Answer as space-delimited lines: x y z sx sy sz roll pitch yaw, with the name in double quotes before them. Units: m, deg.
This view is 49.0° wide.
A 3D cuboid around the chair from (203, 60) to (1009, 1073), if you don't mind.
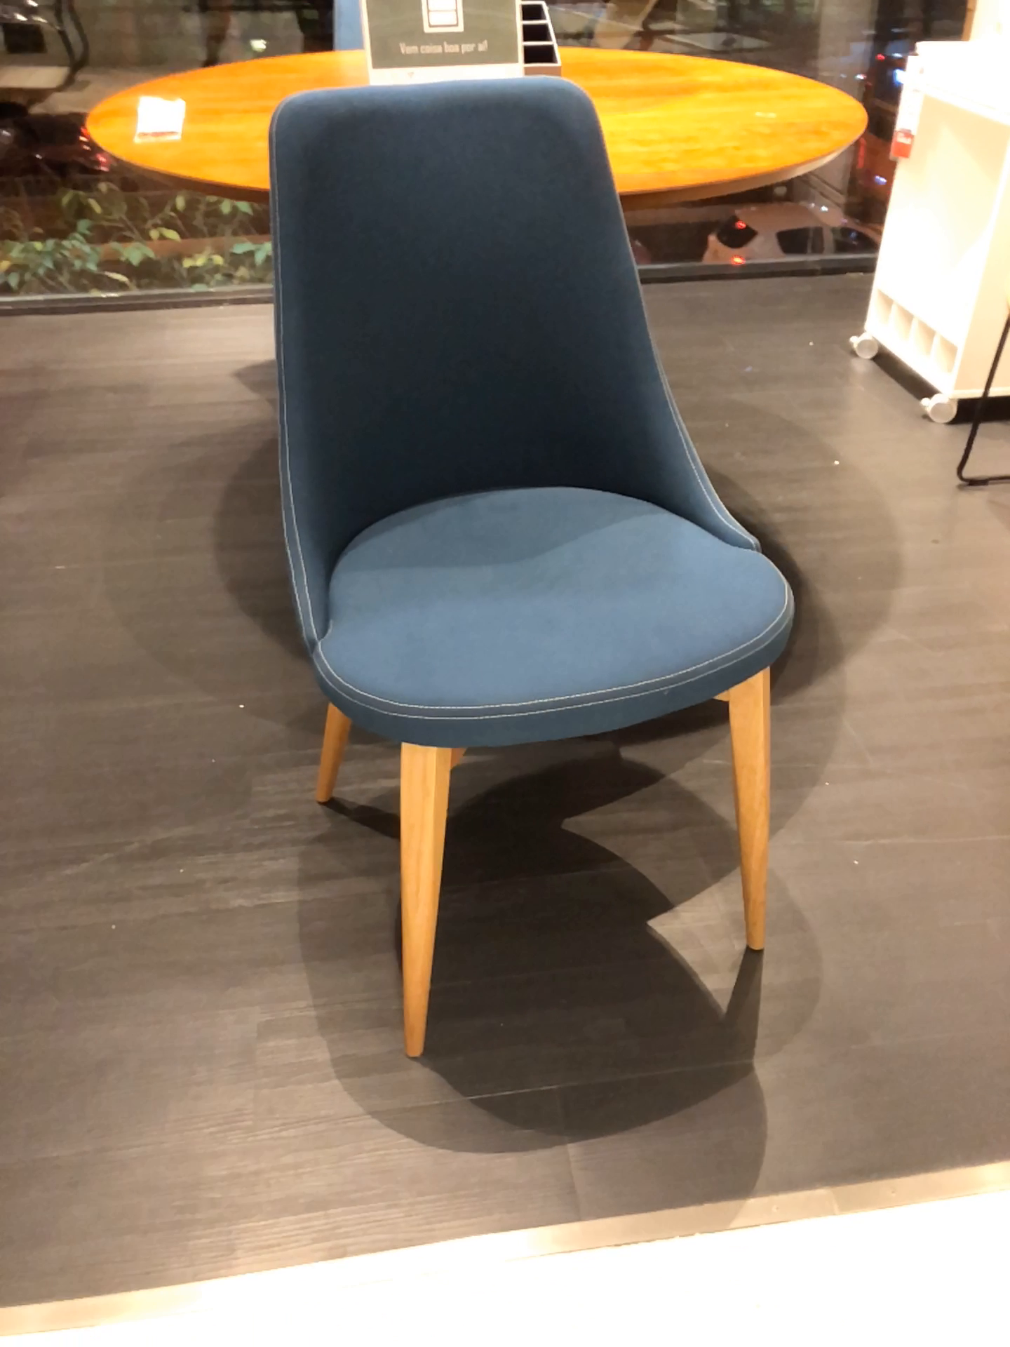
"chair" 0.043 -0.129 1.197 0.520 0.853 0.544 -12 38 -16
